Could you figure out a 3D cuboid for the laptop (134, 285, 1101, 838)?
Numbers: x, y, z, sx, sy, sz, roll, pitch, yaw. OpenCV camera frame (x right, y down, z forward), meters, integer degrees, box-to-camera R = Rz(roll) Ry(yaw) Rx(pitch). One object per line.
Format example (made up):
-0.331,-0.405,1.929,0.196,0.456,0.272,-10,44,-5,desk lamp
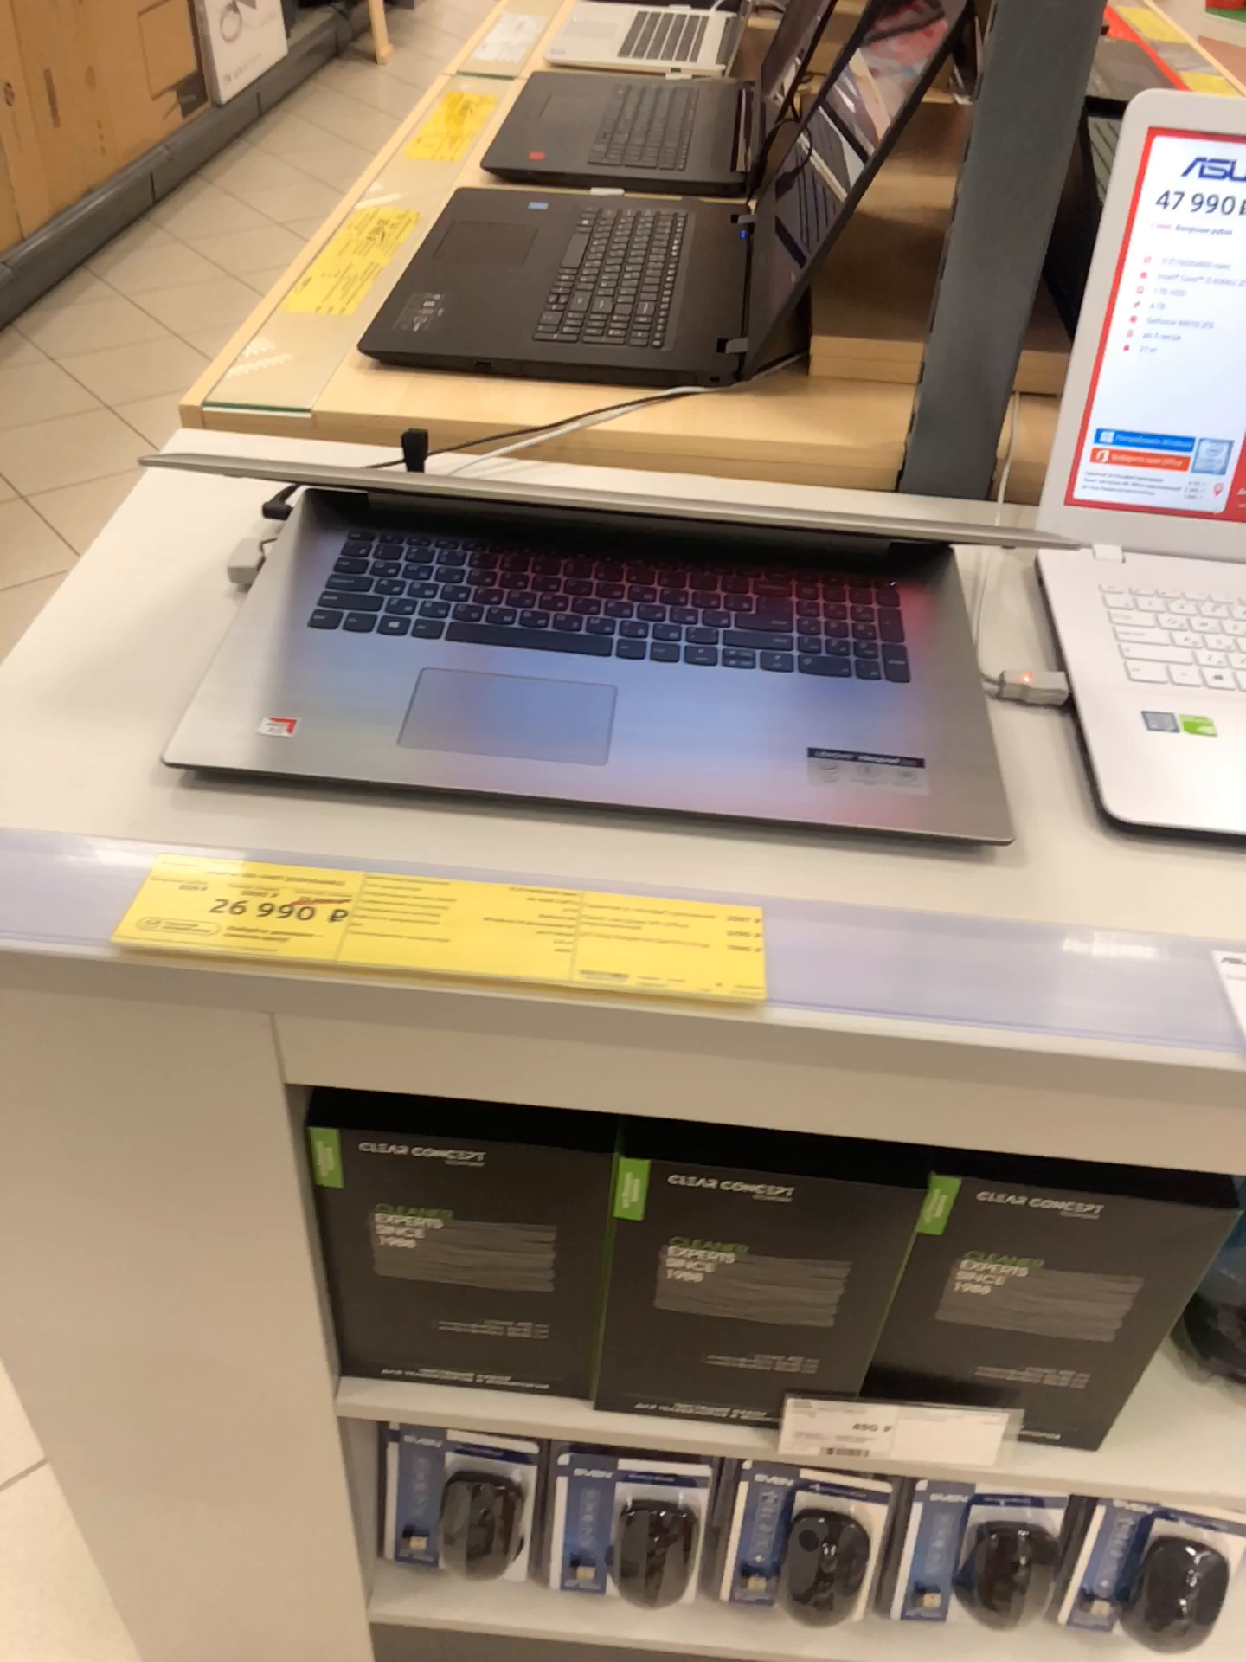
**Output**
0.001,-0.154,0.706,0.398,0.129,0.277,5,40,1,laptop
